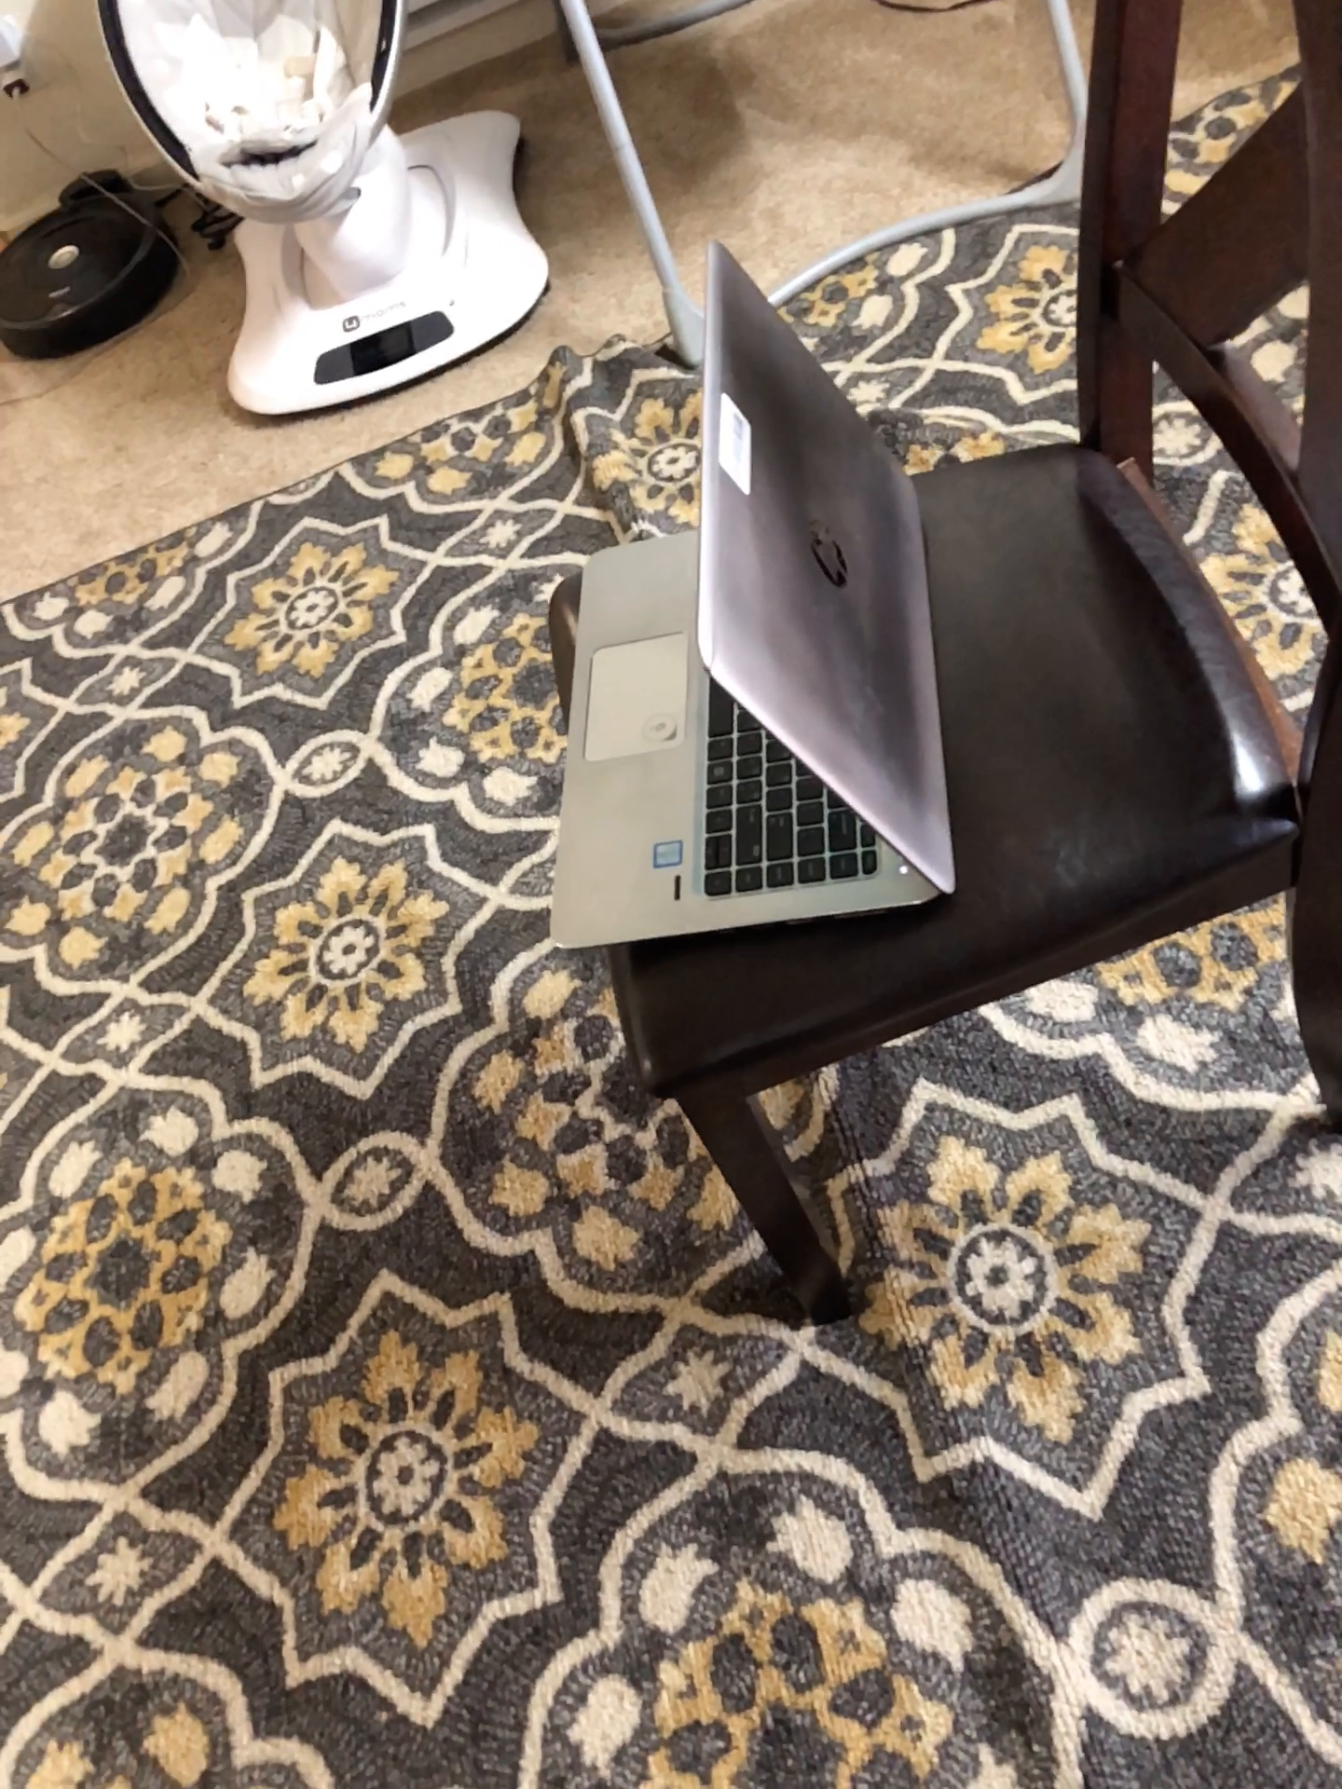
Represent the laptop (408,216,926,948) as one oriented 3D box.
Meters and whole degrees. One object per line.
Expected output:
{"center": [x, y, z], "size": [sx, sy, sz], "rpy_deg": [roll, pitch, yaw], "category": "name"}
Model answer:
{"center": [0.010, -0.169, 0.815], "size": [0.212, 0.193, 0.323], "rpy_deg": [-8, 55, 15], "category": "laptop"}
